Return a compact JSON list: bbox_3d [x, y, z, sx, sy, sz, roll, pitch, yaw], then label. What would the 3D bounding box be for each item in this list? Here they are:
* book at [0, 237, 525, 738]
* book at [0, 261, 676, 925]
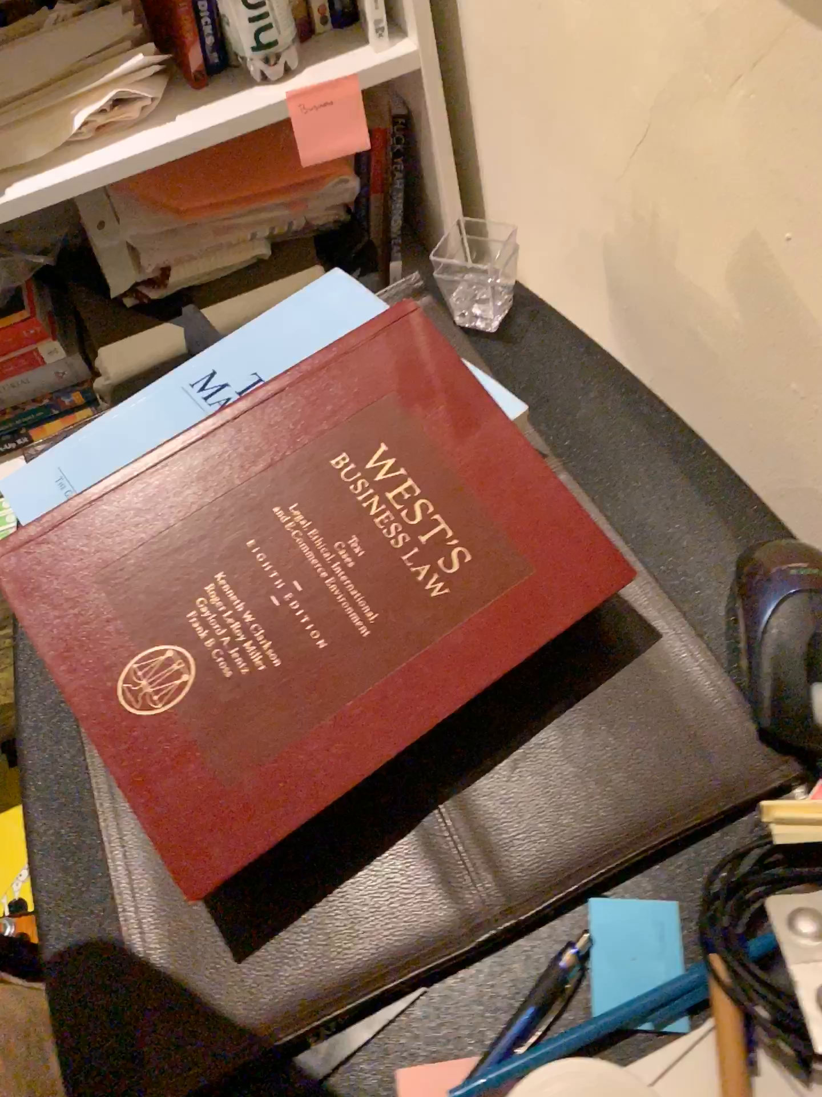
[{"bbox_3d":[-0.107,-0.057,0.528,0.270,0.070,0.221,-34,54,-12],"label":"book"},{"bbox_3d":[-0.042,0.009,0.432,0.270,0.050,0.210,-35,79,-12],"label":"book"}]
